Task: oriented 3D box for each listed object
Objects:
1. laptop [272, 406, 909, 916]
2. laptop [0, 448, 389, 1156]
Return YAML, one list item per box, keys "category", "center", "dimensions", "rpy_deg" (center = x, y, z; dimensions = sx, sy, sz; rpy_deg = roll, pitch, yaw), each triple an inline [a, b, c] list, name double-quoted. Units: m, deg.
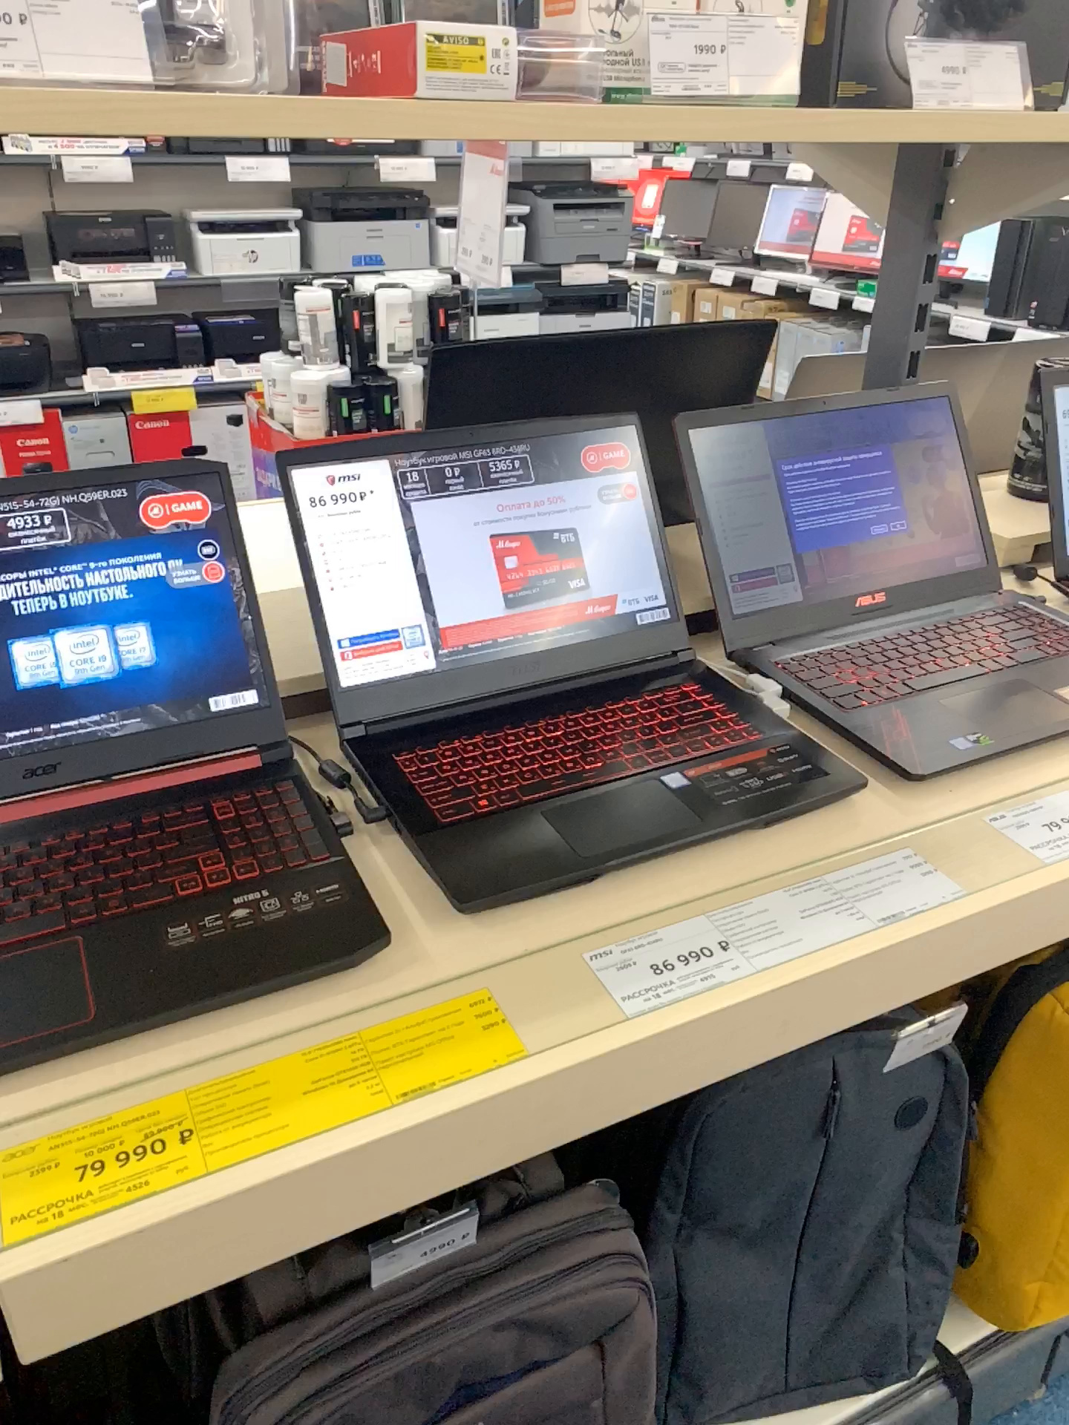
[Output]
- category: "laptop"
  center: [0.022, -0.082, 0.877]
  dimensions: [0.351, 0.204, 0.371]
  rpy_deg: [-13, 33, -25]
- category: "laptop"
  center: [-0.312, 0.002, 0.699]
  dimensions: [0.334, 0.211, 0.372]
  rpy_deg: [-12, 31, -23]
